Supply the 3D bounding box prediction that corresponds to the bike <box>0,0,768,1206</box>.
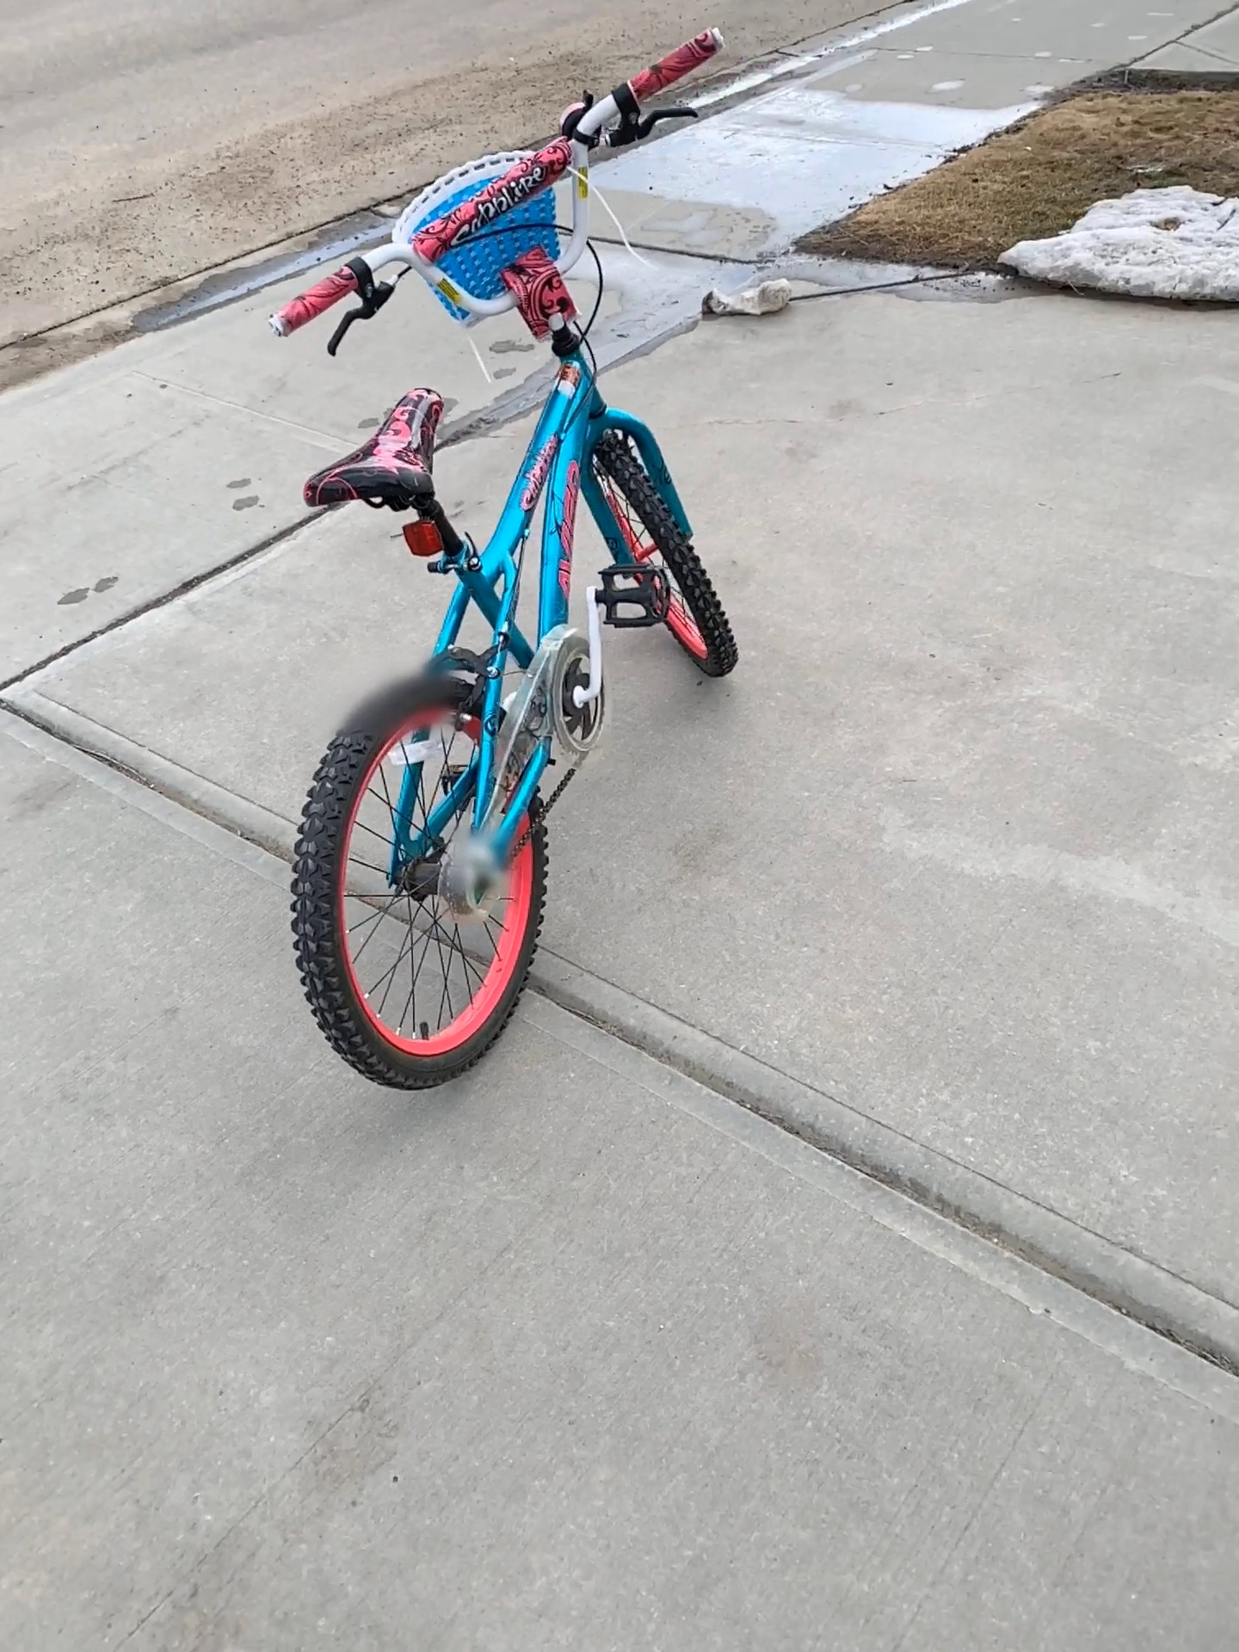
[{"bbox_3d":[-0.259,-0.418,1.643,0.743,0.946,1.264,6,45,12],"label":"bike"}]
